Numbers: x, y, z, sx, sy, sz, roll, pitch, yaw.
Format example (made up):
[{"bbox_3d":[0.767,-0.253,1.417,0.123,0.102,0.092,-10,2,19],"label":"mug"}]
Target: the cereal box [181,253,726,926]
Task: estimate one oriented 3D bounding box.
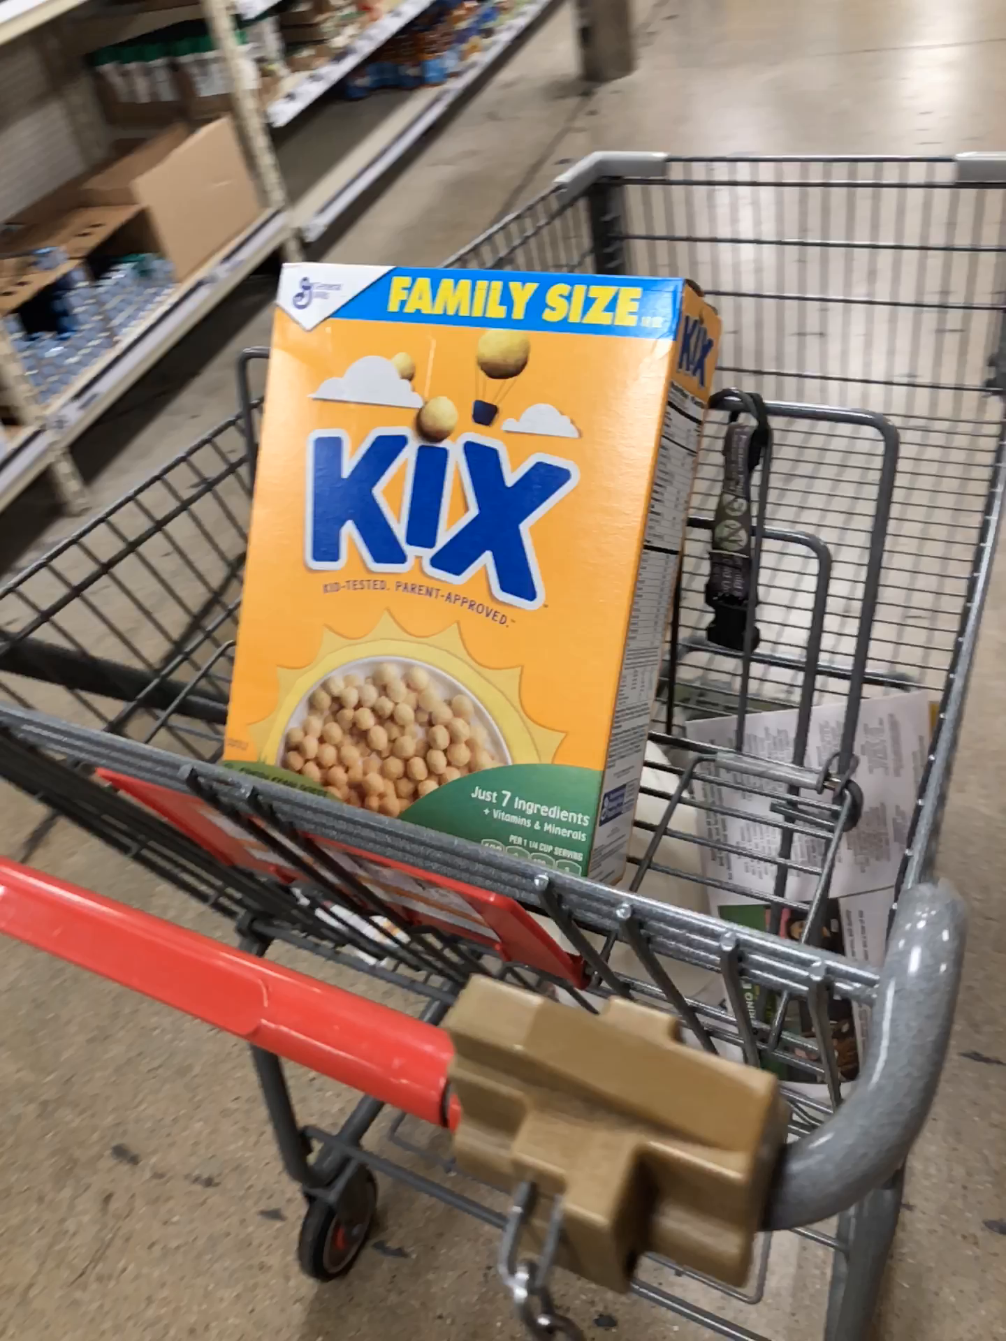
[{"bbox_3d":[-0.038,-0.056,0.618,0.260,0.320,0.070,12,7,25],"label":"cereal box"}]
